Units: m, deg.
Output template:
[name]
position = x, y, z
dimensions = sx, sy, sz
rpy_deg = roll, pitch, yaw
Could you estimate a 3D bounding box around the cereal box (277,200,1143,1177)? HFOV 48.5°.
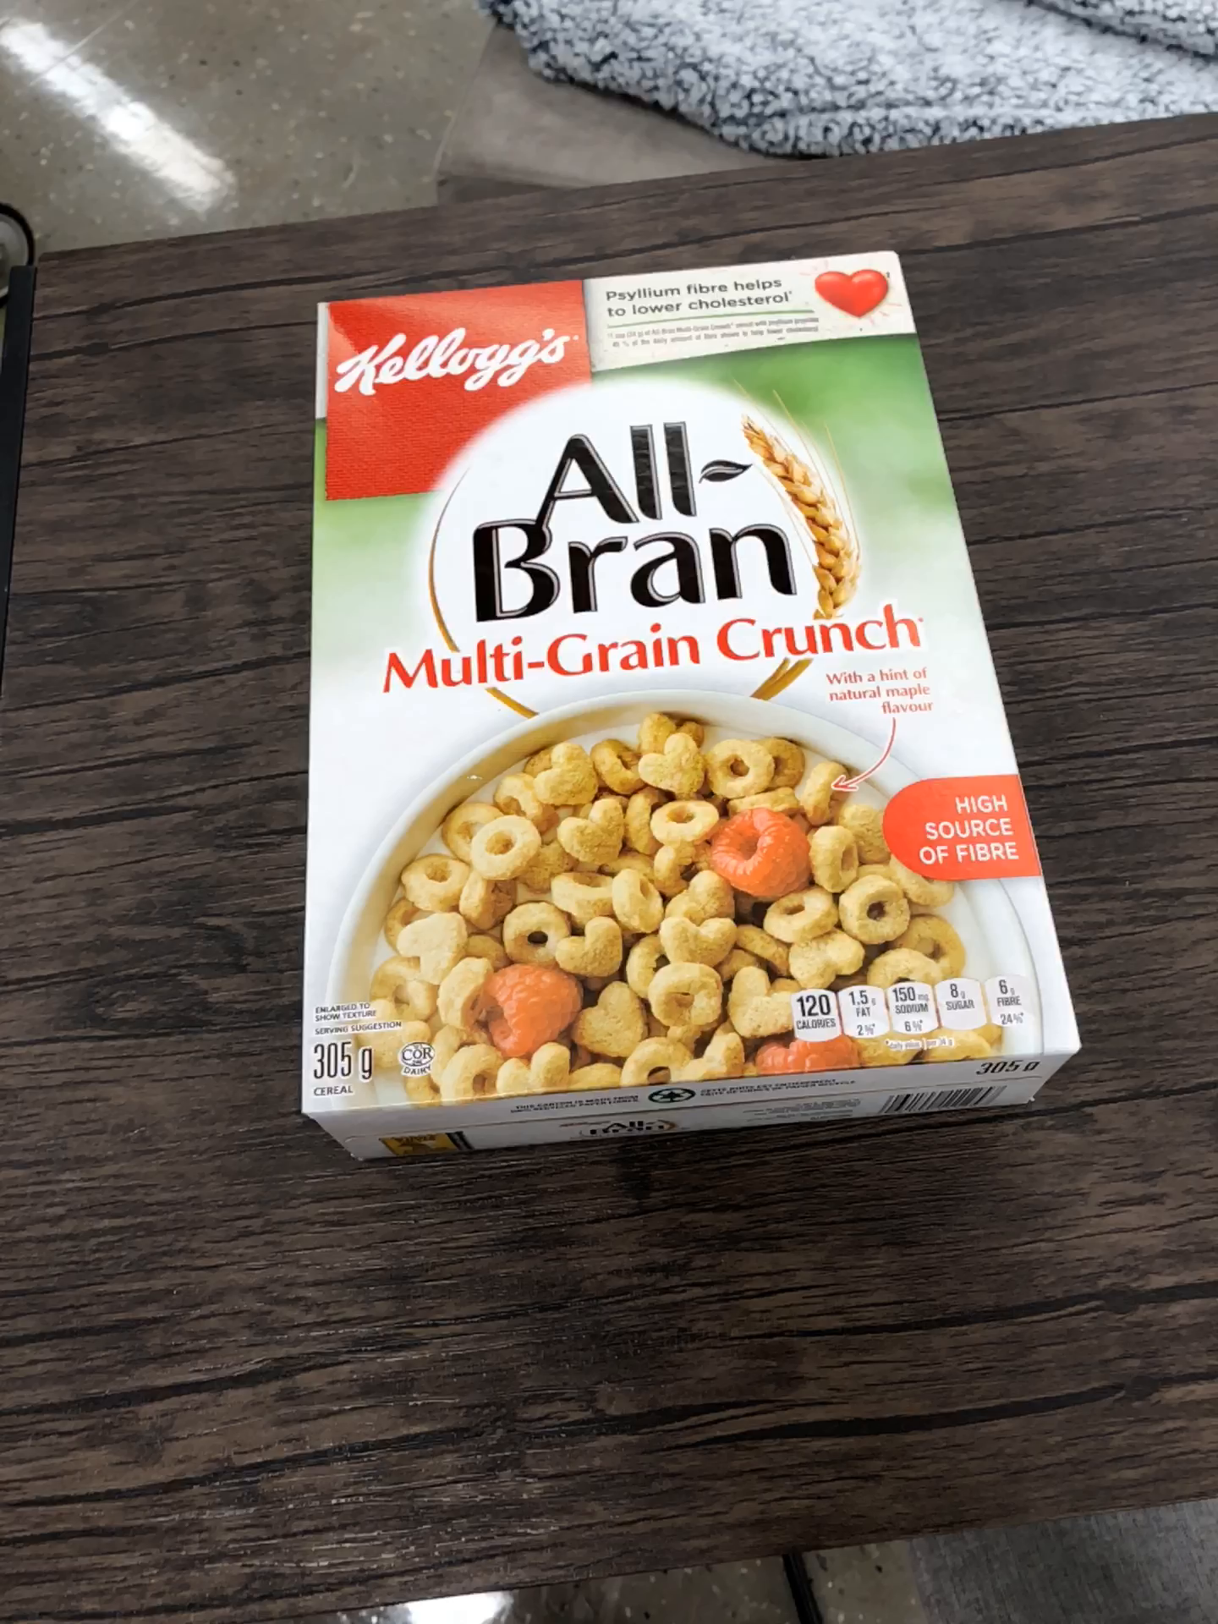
[cereal box]
position = 0.015, -0.053, 0.428
dimensions = 0.210, 0.070, 0.300
rpy_deg = -5, 62, 0
